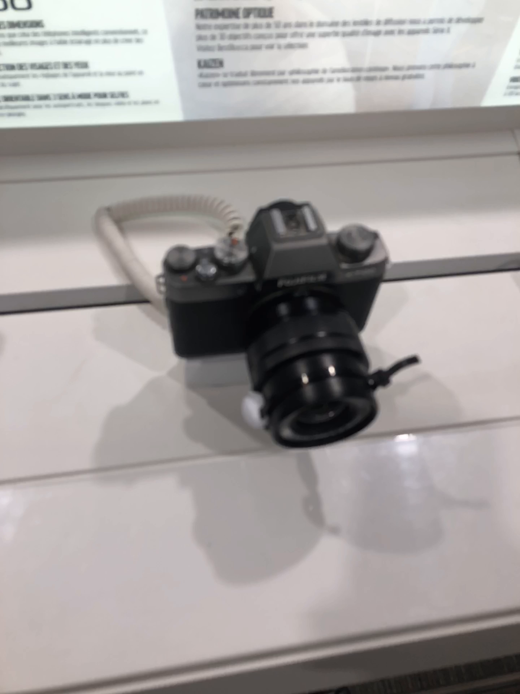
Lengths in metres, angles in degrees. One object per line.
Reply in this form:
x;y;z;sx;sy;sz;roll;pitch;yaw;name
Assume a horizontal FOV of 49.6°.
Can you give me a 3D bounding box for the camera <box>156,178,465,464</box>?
0.016;-0.015;0.312;0.130;0.099;0.108;-6;52;-7;camera
